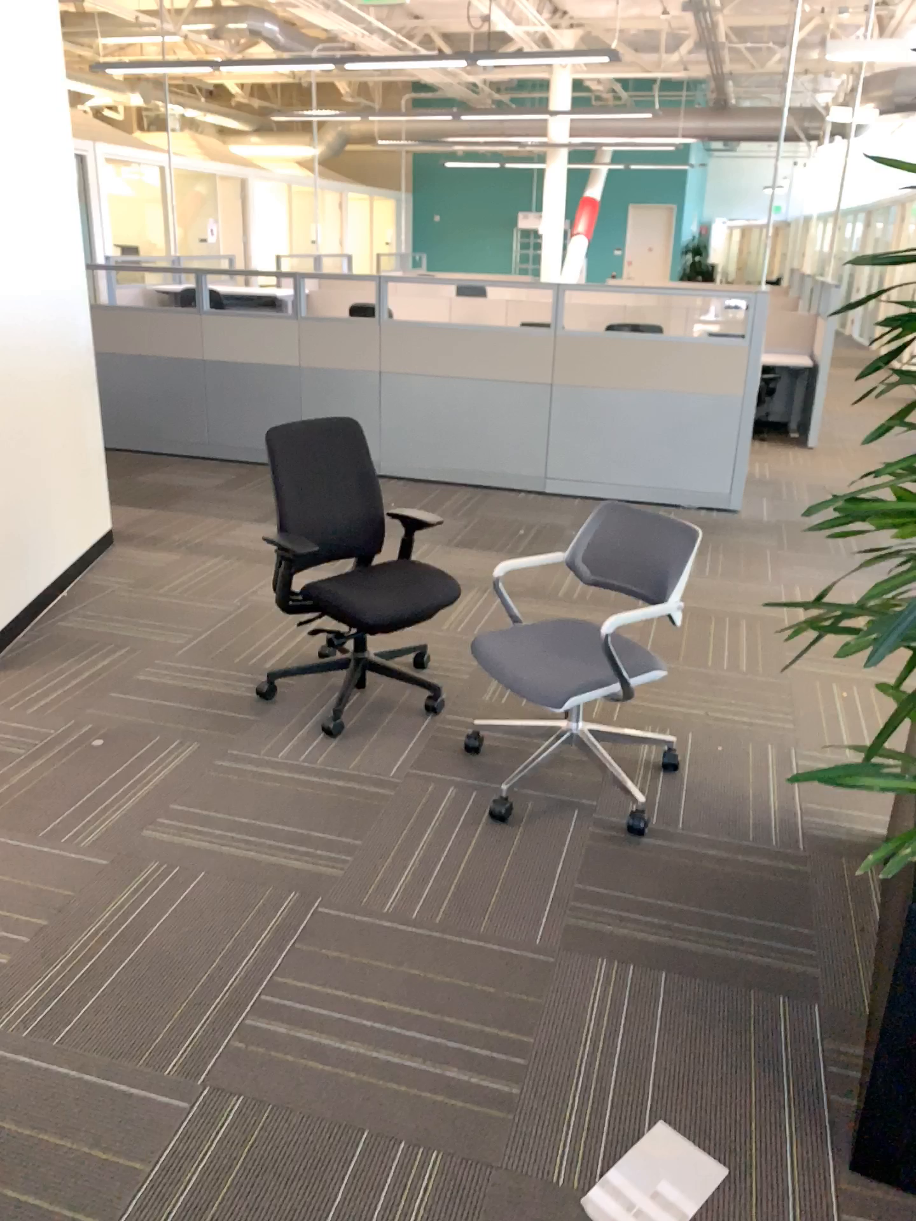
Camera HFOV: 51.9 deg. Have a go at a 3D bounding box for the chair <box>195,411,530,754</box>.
[{"bbox_3d":[-0.354,-0.171,3.359,0.800,0.886,0.854,-14,26,-36],"label":"chair"}]

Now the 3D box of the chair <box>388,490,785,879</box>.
[{"bbox_3d":[0.342,0.141,2.828,0.790,0.756,0.804,-13,26,-35],"label":"chair"}]
